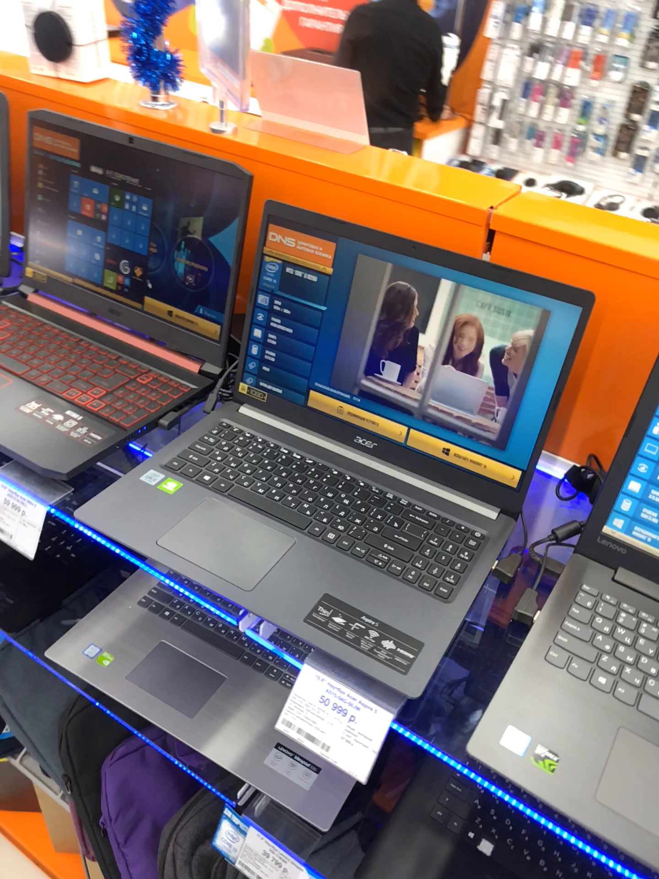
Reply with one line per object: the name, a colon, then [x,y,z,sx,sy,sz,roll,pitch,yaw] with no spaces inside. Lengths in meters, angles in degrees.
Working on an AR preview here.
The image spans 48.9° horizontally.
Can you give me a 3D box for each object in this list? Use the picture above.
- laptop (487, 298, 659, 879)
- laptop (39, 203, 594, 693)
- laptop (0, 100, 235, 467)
laptop: [0.345,0.123,0.492,0.349,0.230,0.323,24,40,23]
laptop: [-0.003,-0.030,0.664,0.353,0.224,0.304,22,38,21]
laptop: [-0.321,-0.201,0.823,0.309,0.230,0.302,23,39,19]
